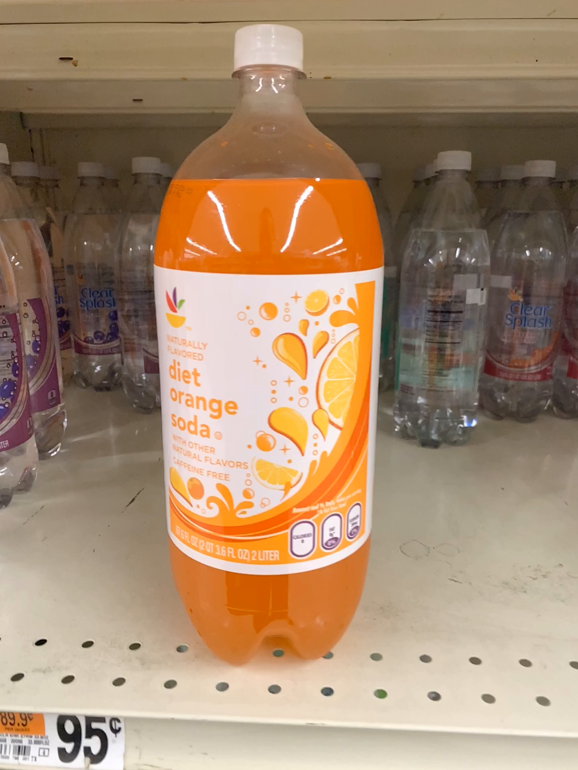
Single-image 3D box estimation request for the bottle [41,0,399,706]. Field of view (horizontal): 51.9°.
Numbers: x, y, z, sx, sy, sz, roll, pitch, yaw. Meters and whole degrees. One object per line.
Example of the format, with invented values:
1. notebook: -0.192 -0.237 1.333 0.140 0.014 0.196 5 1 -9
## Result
1. bottle: -0.017 -0.013 0.290 0.120 0.289 0.110 0 17 0
